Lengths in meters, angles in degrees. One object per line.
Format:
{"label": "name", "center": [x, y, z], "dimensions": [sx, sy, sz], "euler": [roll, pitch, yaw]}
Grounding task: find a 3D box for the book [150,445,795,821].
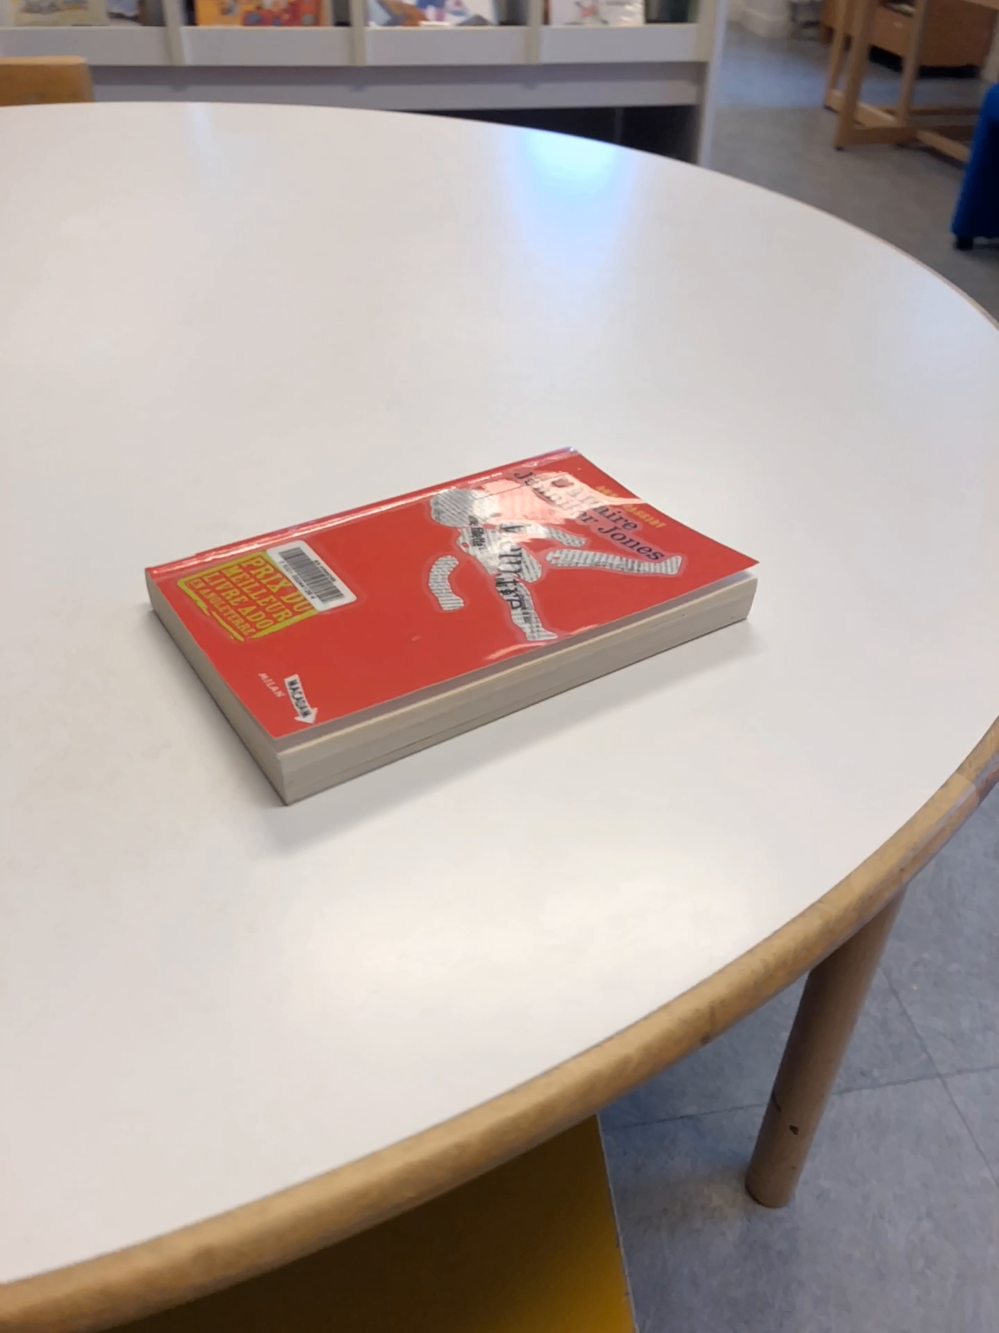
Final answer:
{"label": "book", "center": [-0.011, -0.027, 0.424], "dimensions": [0.203, 0.027, 0.136], "euler": [-20, 39, -26]}
